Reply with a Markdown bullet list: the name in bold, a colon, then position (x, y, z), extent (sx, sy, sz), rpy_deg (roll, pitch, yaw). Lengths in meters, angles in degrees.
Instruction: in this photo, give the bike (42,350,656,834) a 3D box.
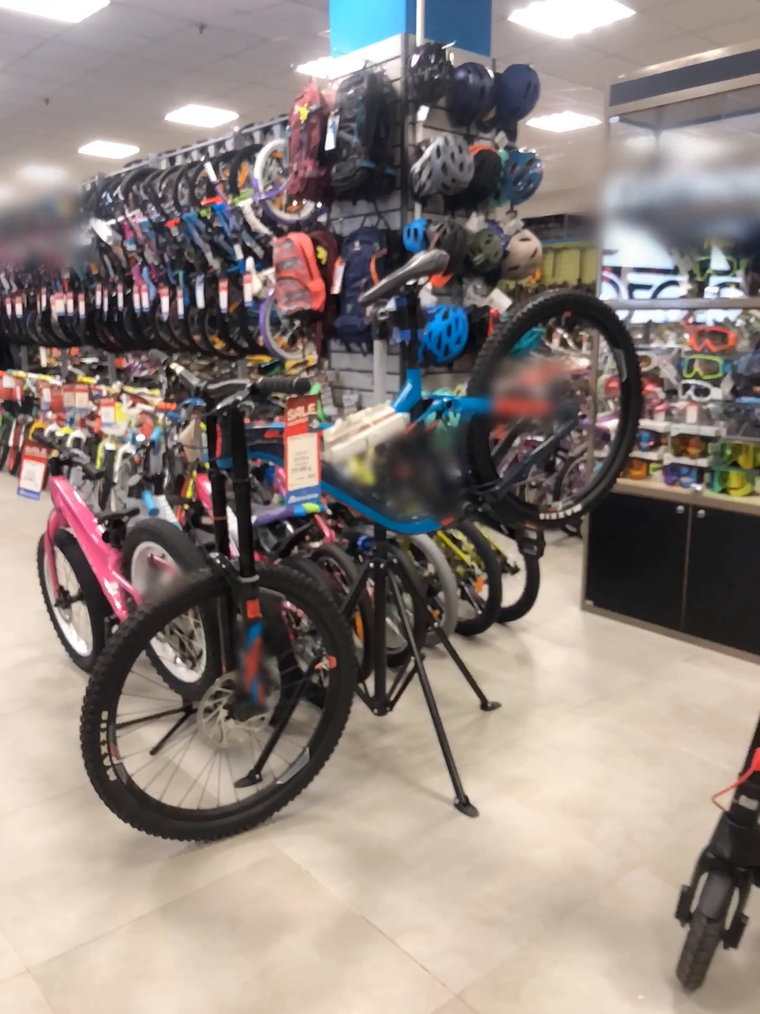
- **bike**: position (-0.082, 0.070, 2.132), extent (1.525, 0.182, 0.660), rpy_deg (-34, 27, -21)
